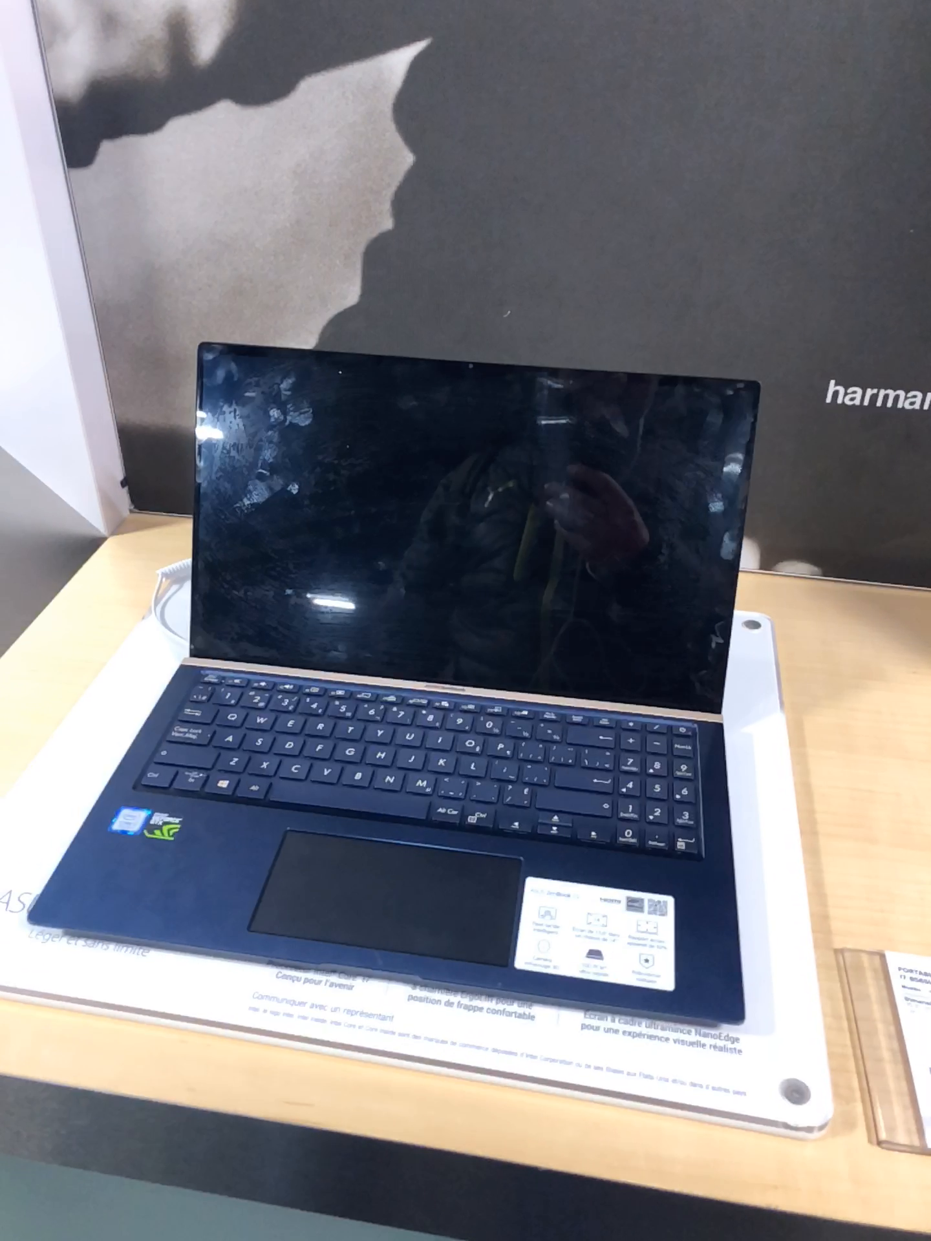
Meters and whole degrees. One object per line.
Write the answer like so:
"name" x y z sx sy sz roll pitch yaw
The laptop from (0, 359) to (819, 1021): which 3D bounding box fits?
"laptop" -0.019 0.006 0.536 0.331 0.173 0.293 5 35 8
